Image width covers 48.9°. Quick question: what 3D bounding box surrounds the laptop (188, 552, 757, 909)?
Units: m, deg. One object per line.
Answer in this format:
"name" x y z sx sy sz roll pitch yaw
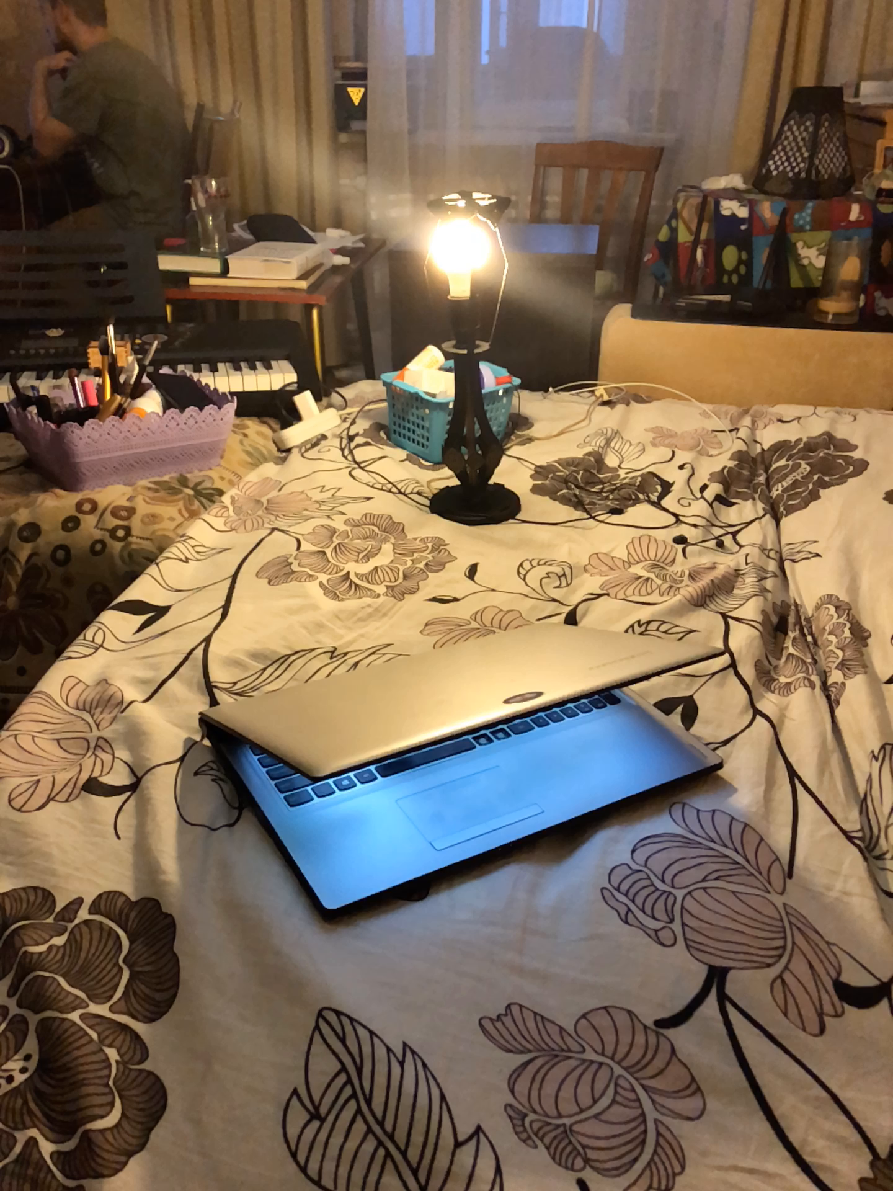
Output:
"laptop" 0.017 0.084 0.827 0.381 0.082 0.256 -14 31 -27
